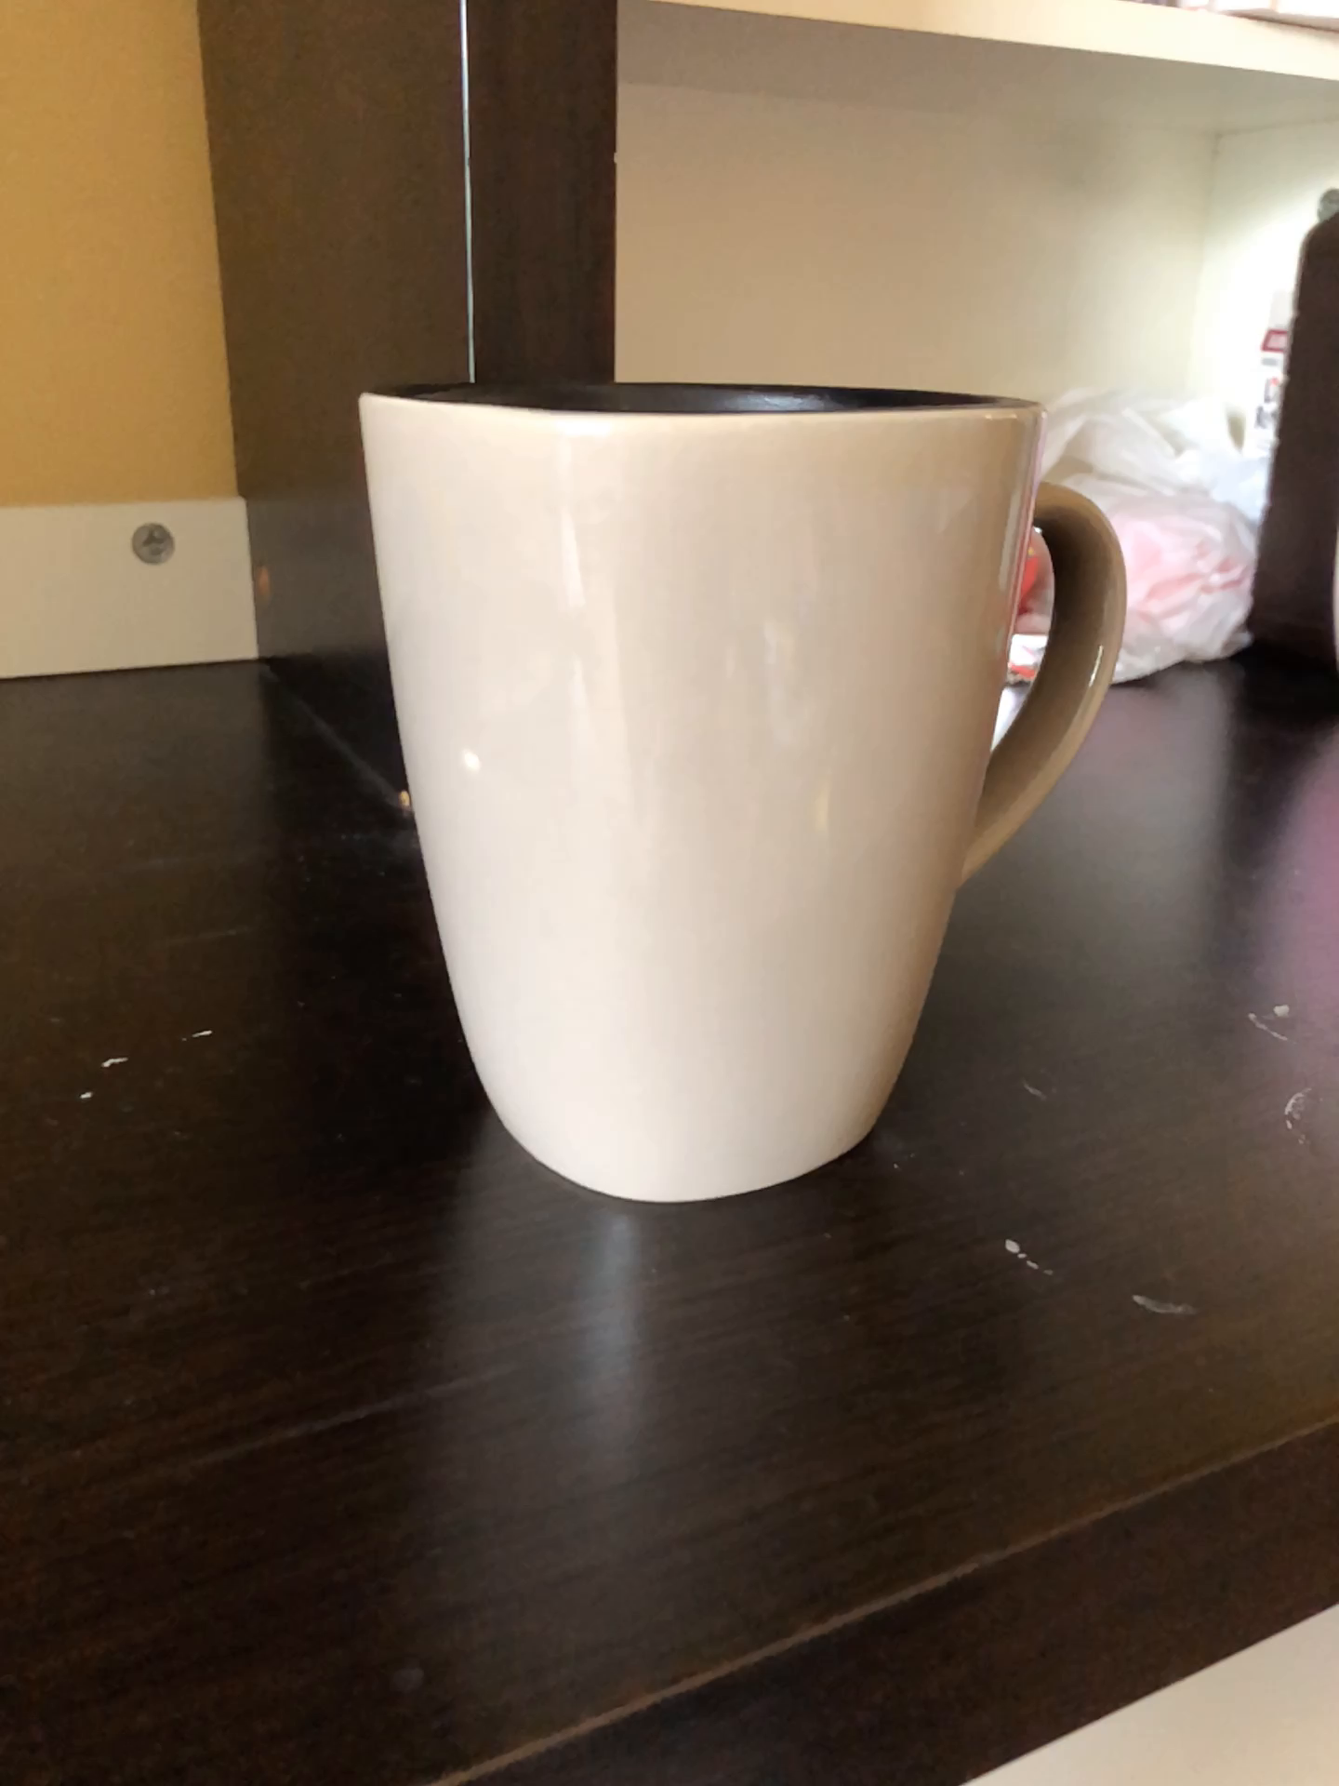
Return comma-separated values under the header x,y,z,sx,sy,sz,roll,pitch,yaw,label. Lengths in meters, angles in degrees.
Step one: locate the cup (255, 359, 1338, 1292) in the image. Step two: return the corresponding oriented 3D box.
x,y,z,sx,sy,sz,roll,pitch,yaw,label
0.015,-0.027,0.246,0.130,0.110,0.100,-11,25,-30,cup
